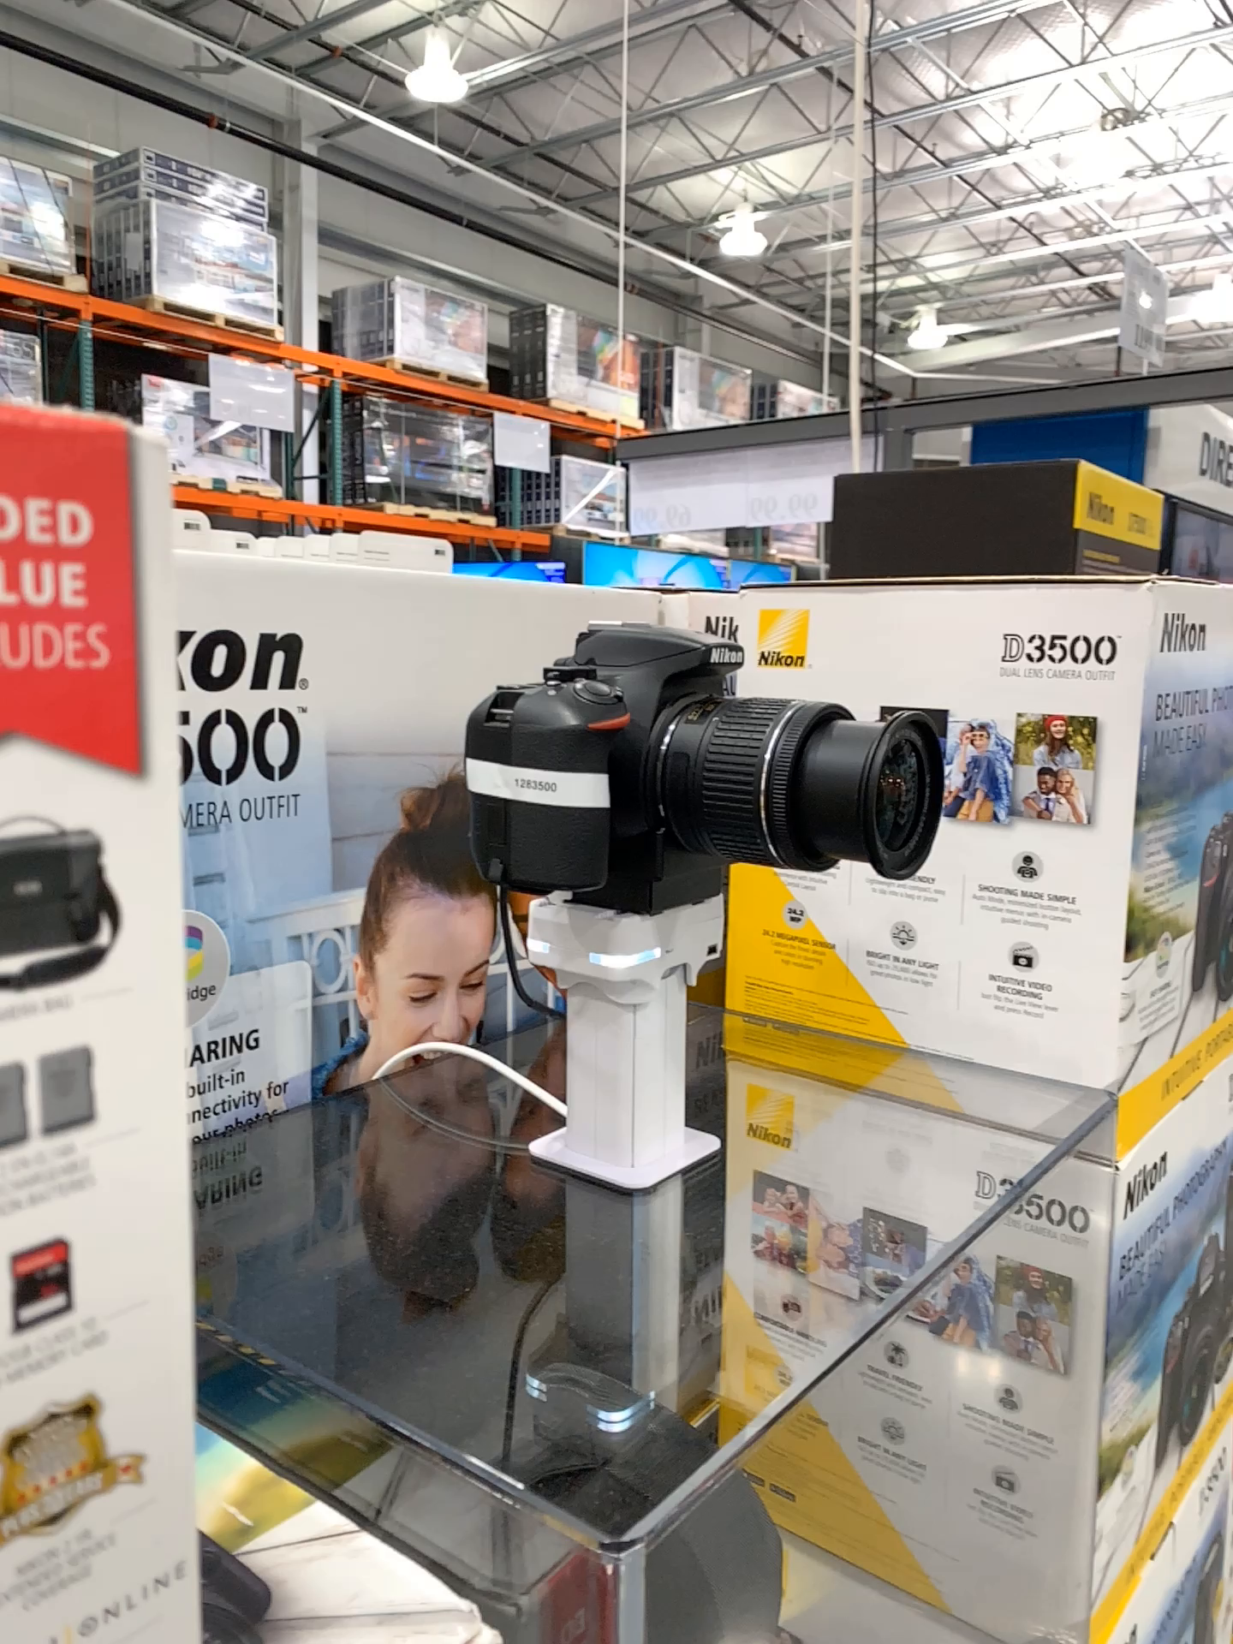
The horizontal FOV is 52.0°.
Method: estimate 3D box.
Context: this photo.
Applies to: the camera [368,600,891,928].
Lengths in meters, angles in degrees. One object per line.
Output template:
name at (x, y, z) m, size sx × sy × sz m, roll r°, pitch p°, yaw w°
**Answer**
camera at (0.006, -0.031, 0.484) m, size 0.150 × 0.100 × 0.130 m, roll 7°, pitch 10°, yaw 34°
